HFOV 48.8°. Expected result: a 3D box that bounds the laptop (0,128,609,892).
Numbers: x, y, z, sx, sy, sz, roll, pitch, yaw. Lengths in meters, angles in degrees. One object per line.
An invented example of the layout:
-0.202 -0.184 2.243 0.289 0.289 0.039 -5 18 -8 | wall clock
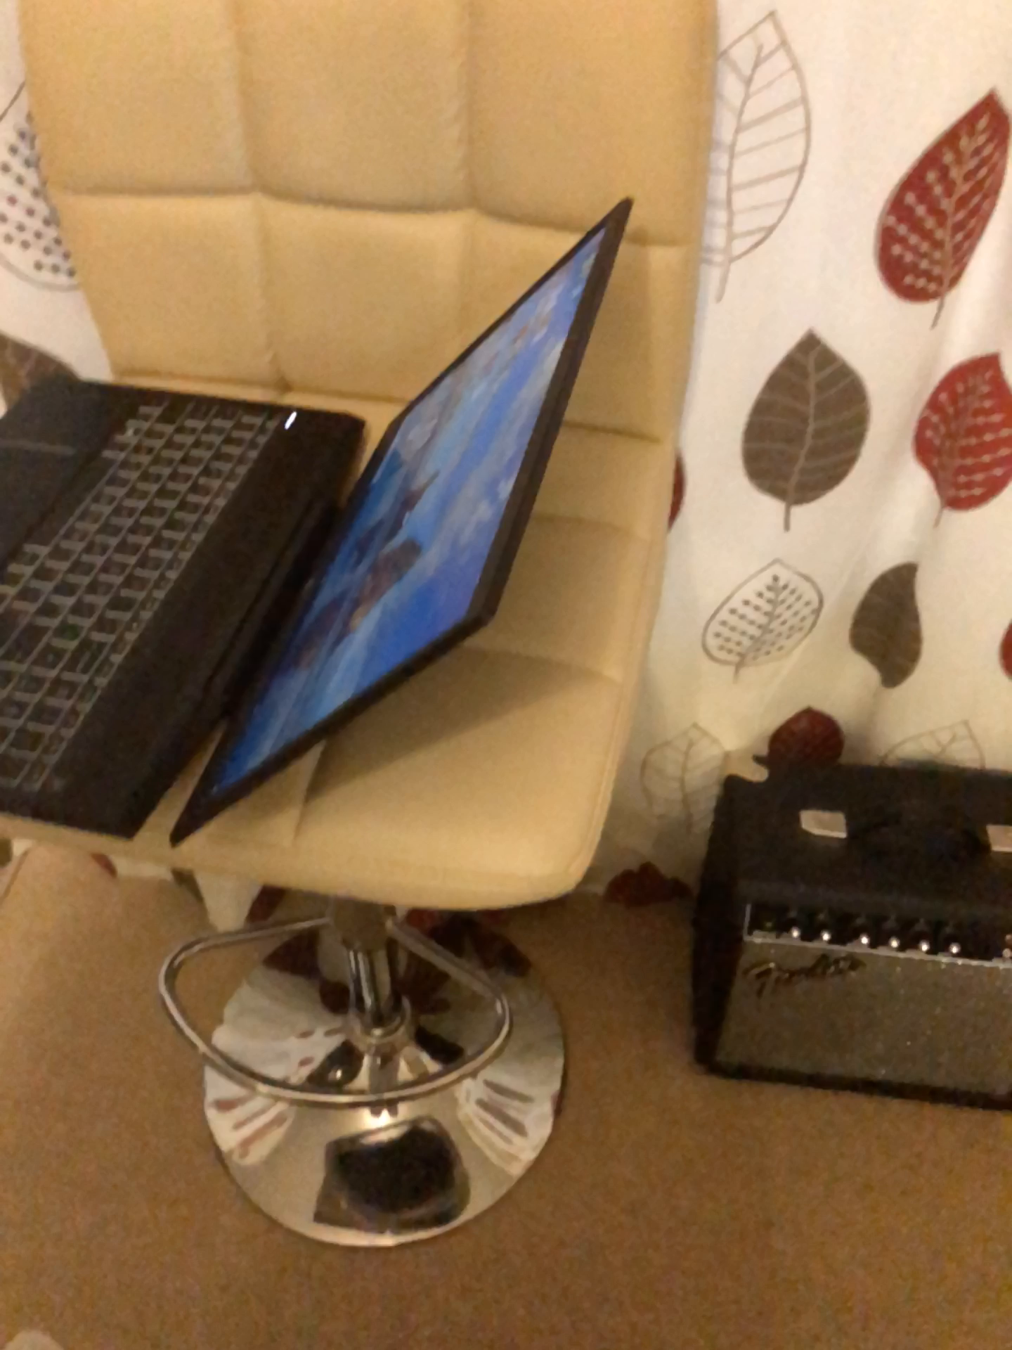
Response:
-0.175 -0.118 0.583 0.400 0.159 0.350 10 45 8 | laptop
